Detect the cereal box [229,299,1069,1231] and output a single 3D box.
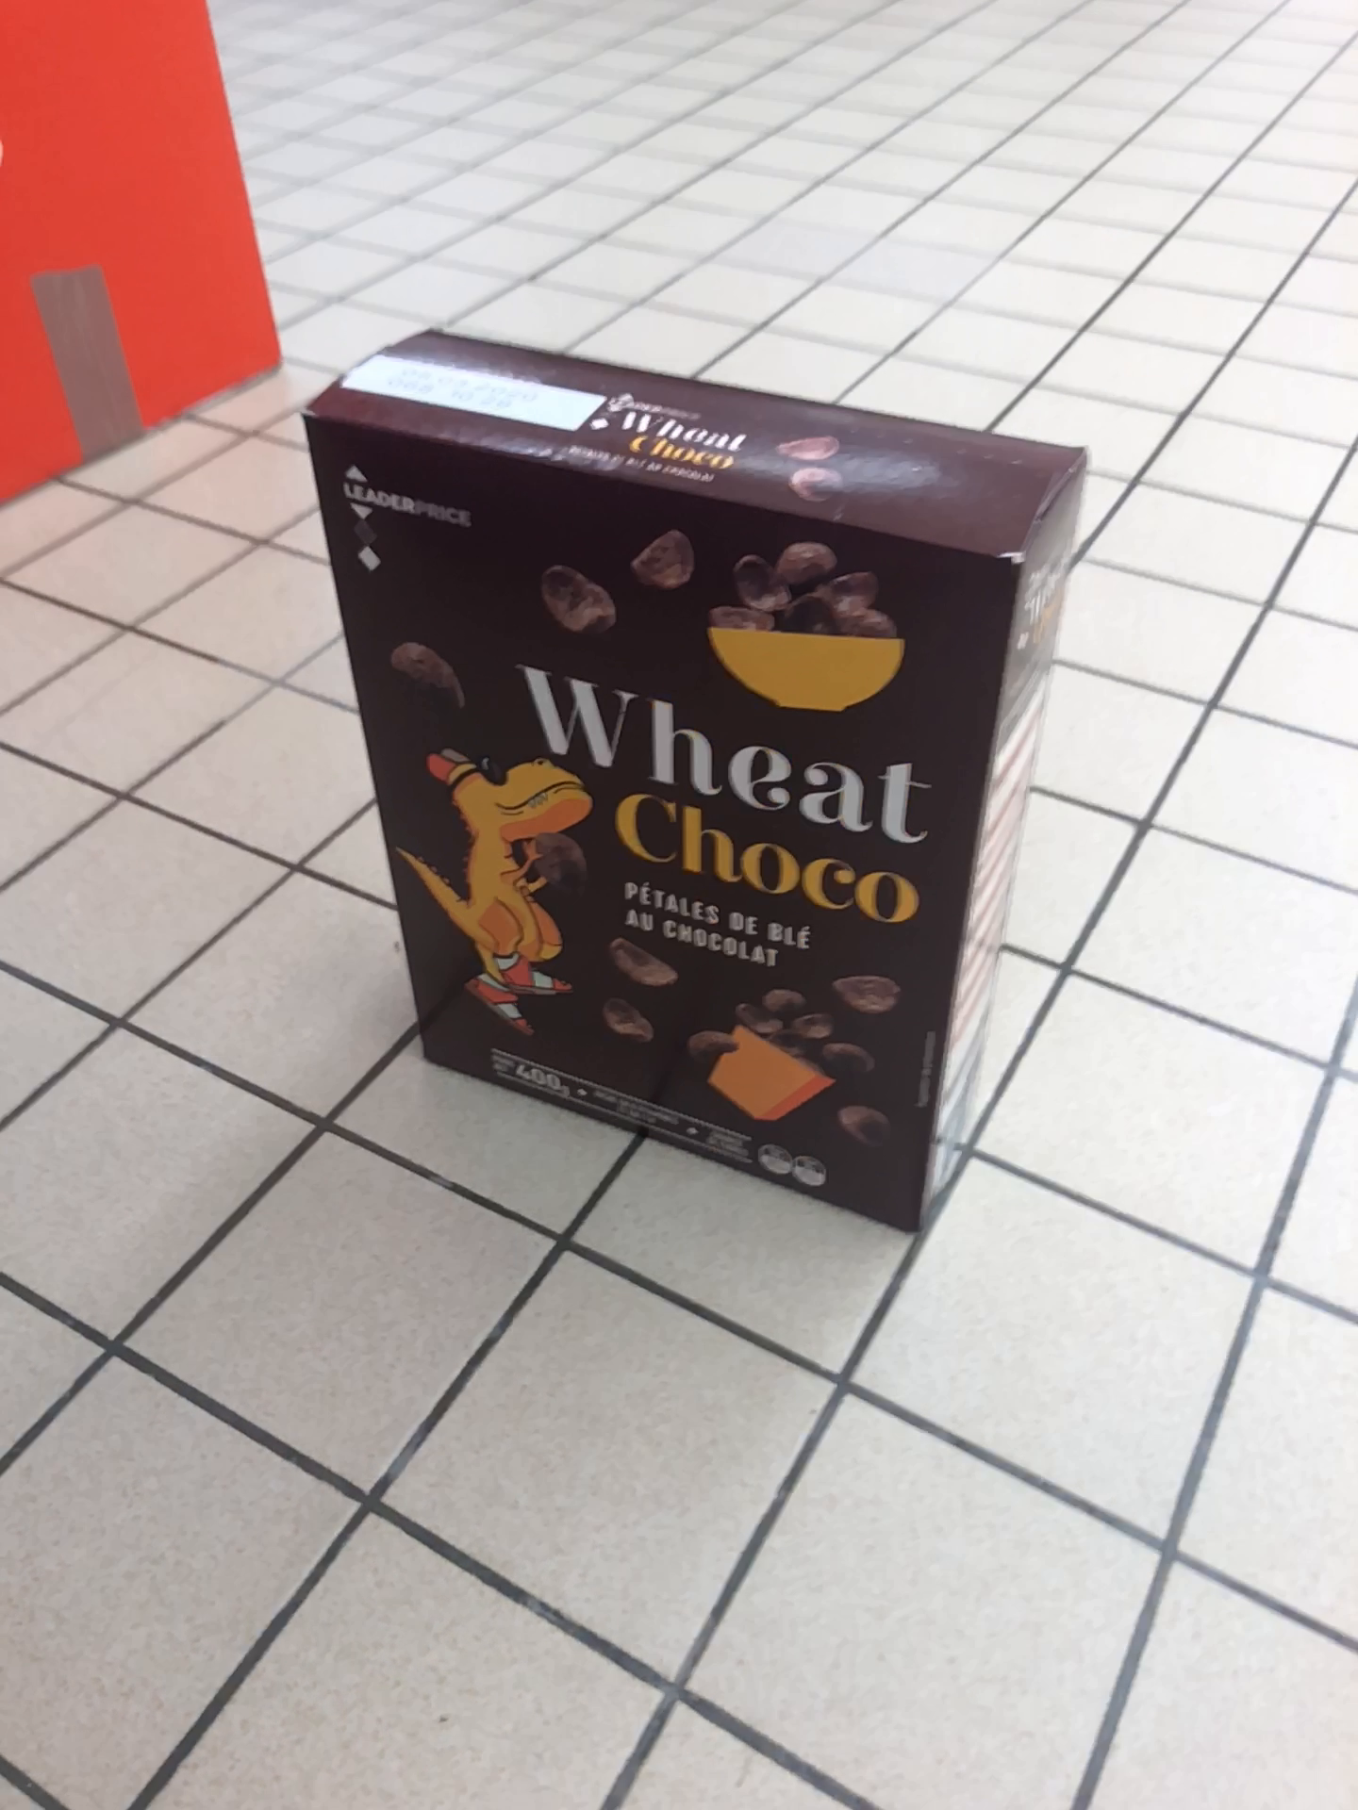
[{"bbox_3d":[-0.007,-0.034,0.459,0.200,0.248,0.070,17,46,18],"label":"cereal box"}]
